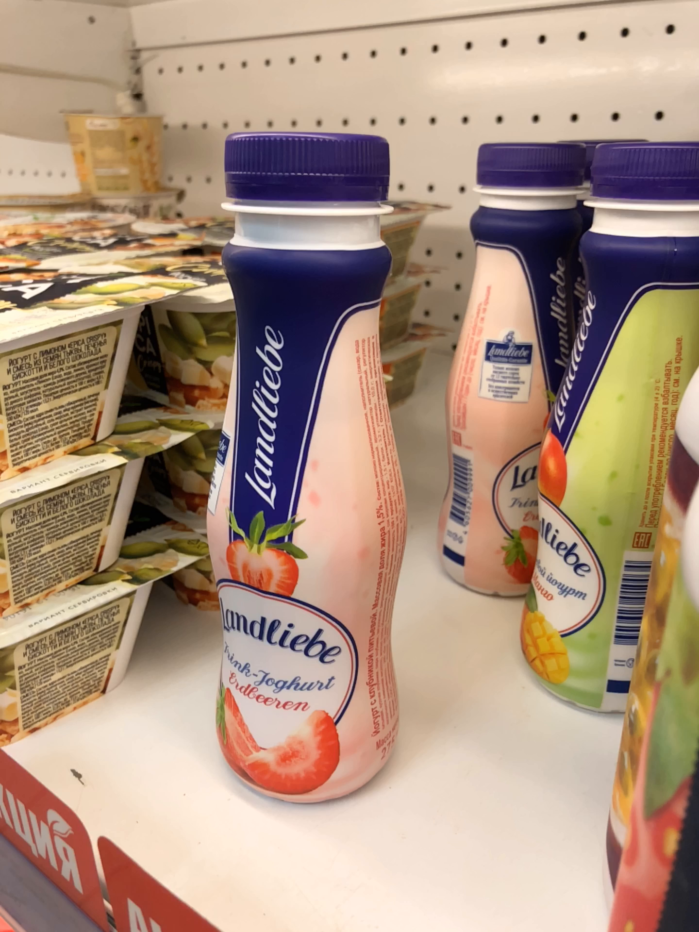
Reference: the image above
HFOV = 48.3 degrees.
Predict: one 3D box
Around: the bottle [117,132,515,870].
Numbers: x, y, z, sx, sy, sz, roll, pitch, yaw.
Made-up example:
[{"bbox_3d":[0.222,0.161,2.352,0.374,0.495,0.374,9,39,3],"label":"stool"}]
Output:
[{"bbox_3d":[-0.006,0.006,0.228,0.070,0.189,0.070,0,22,0],"label":"bottle"}]
